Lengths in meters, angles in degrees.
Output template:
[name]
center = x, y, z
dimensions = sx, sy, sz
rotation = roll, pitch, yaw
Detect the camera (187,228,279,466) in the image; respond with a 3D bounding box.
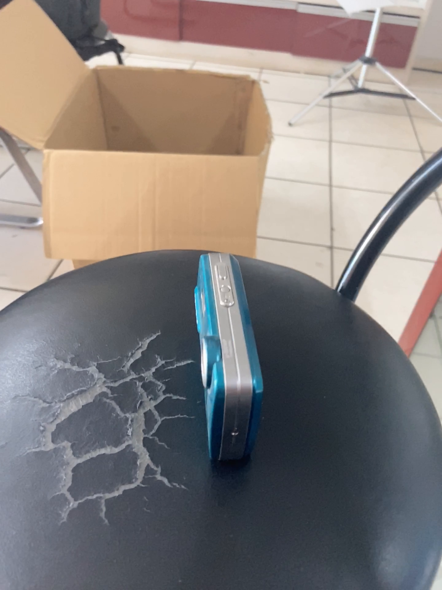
[camera]
center = 0.000, 0.023, 0.239
dimensions = 0.030, 0.070, 0.101
rotation = -2, 43, -7
